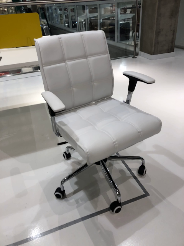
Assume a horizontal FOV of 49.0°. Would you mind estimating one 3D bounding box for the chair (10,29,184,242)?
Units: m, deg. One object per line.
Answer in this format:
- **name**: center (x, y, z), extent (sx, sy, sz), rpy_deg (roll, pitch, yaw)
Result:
- **chair**: center (0.013, -0.020, 1.250), extent (0.661, 0.923, 0.724), rpy_deg (-18, 33, -23)
